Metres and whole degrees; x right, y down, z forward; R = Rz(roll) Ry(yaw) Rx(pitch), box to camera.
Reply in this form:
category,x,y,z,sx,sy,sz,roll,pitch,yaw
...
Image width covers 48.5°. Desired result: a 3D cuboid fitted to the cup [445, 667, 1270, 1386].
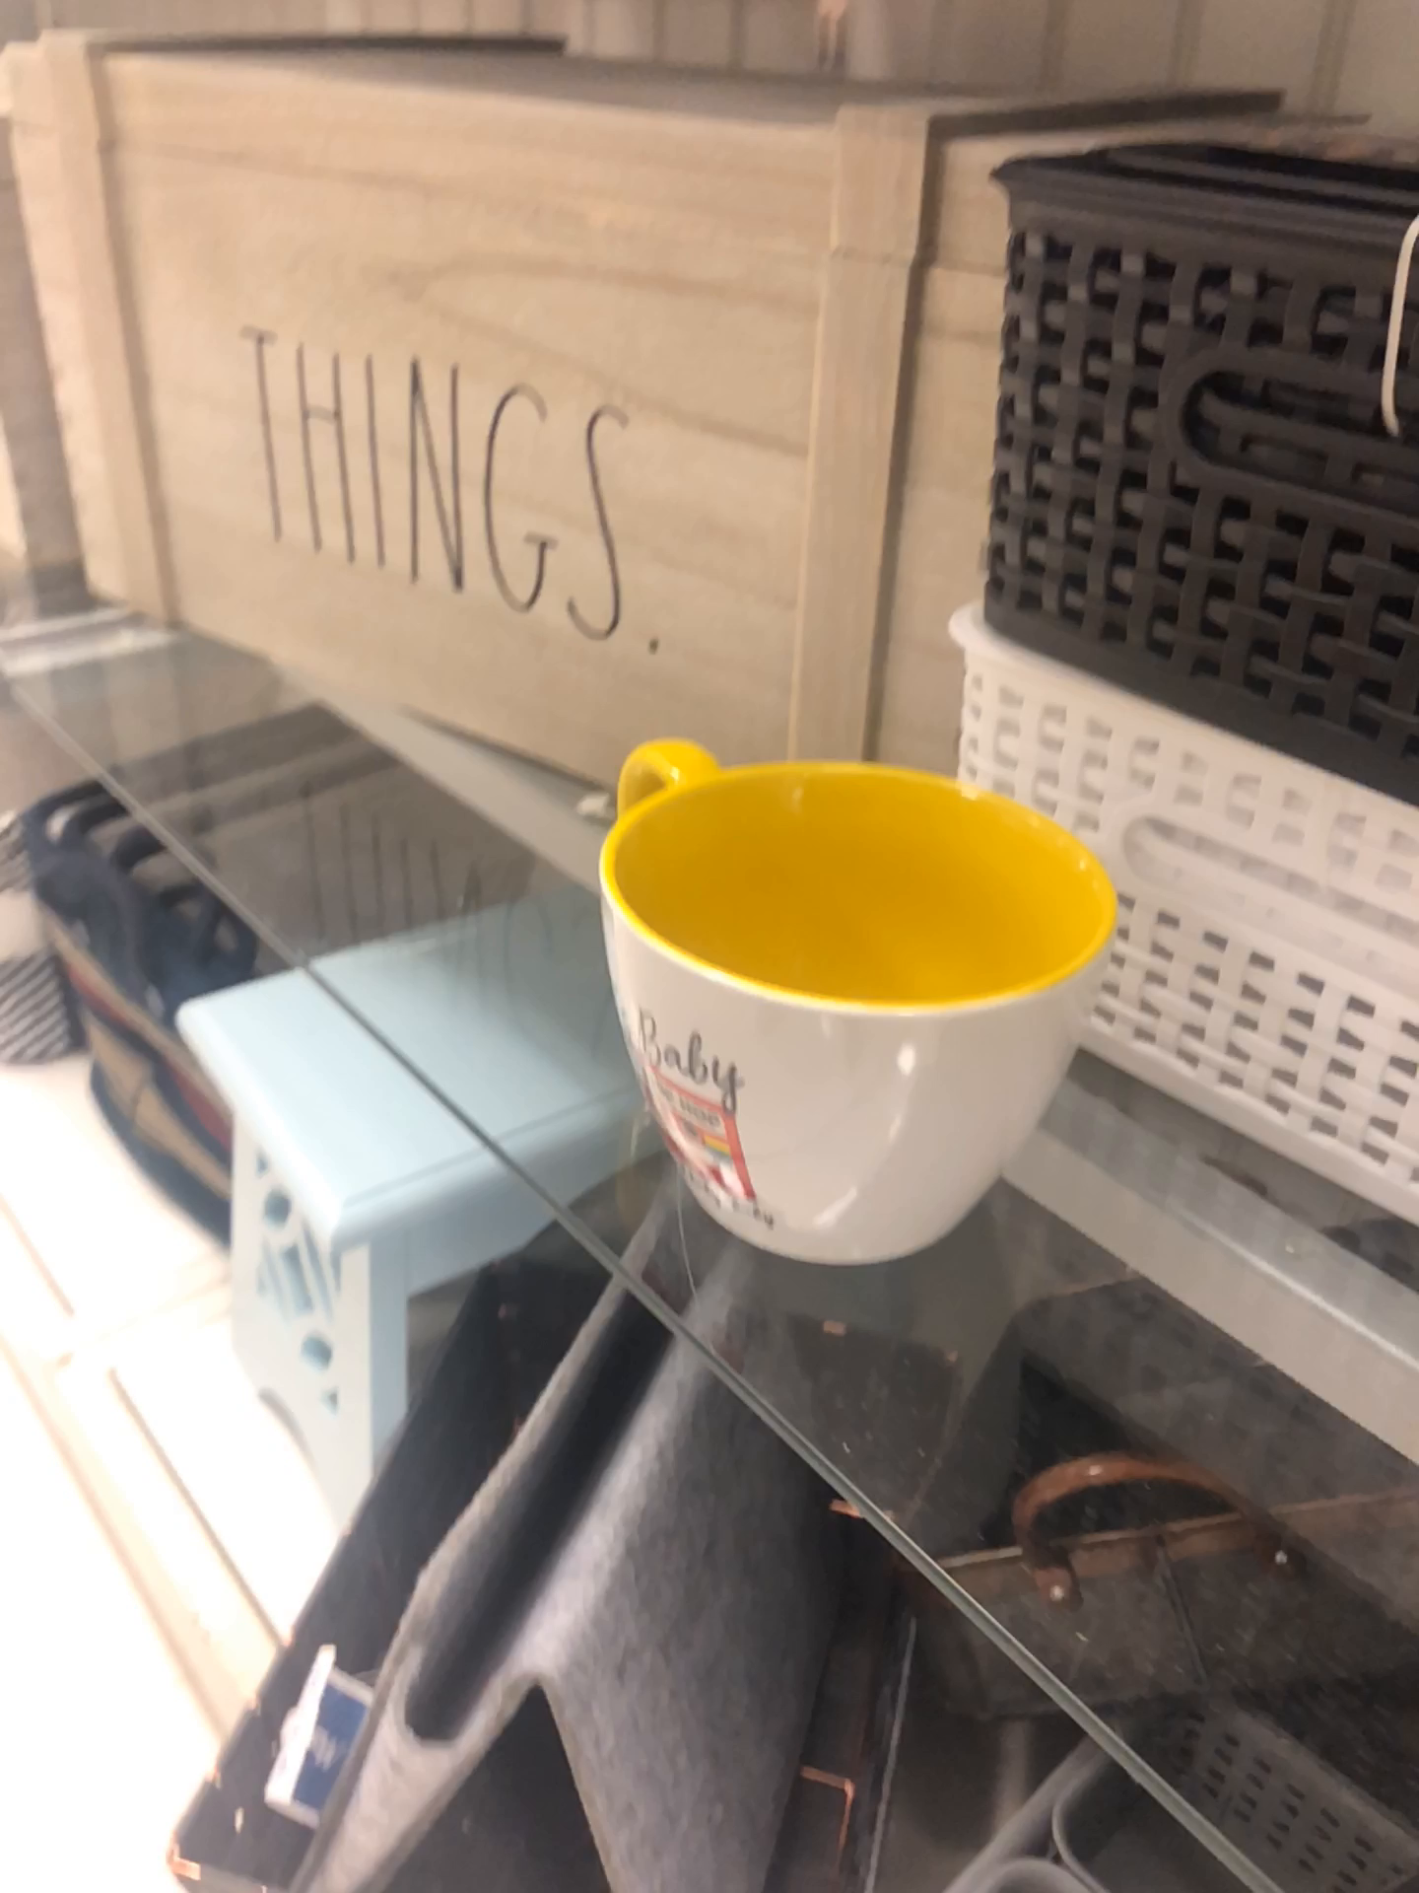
category,x,y,z,sx,sy,sz,roll,pitch,yaw
cup,0.030,0.006,0.400,0.127,0.076,0.157,-22,40,-30
